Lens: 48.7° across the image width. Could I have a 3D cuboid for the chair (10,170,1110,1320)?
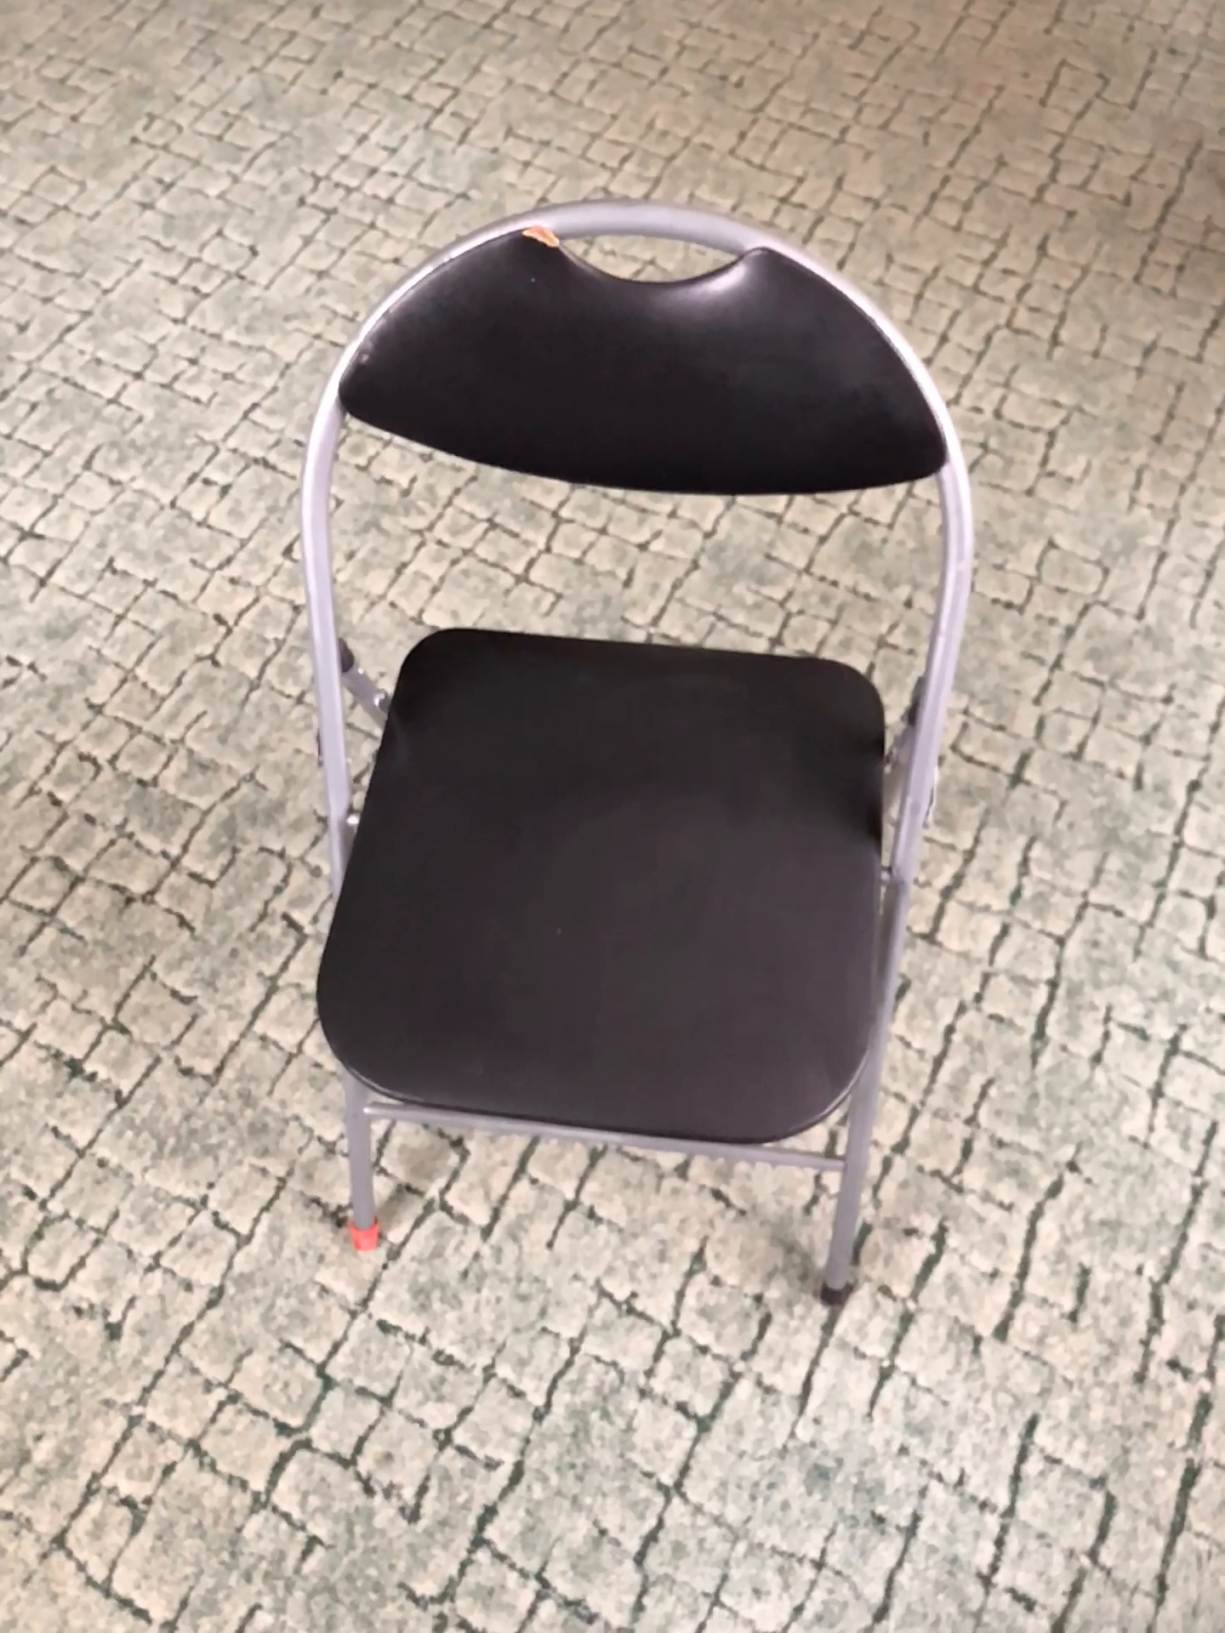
[{"bbox_3d":[0.005,0.024,0.991,0.456,0.733,0.477,6,60,4],"label":"chair"}]
